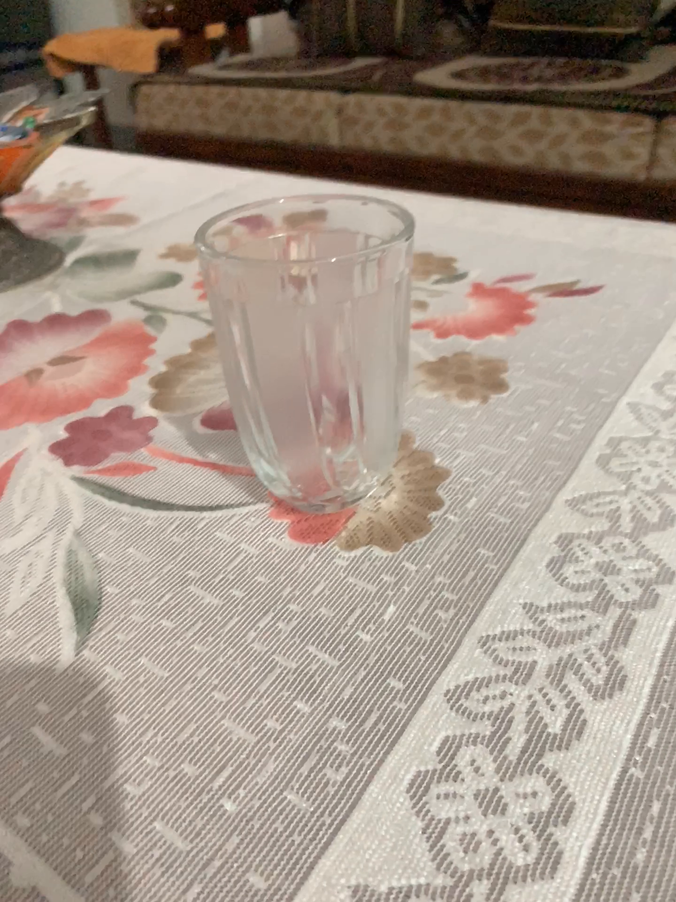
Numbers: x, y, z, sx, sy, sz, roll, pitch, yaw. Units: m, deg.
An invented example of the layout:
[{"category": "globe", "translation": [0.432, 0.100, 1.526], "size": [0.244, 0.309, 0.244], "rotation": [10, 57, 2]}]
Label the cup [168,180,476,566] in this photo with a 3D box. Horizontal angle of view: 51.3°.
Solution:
[{"category": "cup", "translation": [-0.004, -0.030, 0.248], "size": [0.070, 0.100, 0.070], "rotation": [-3, 35, 2]}]
